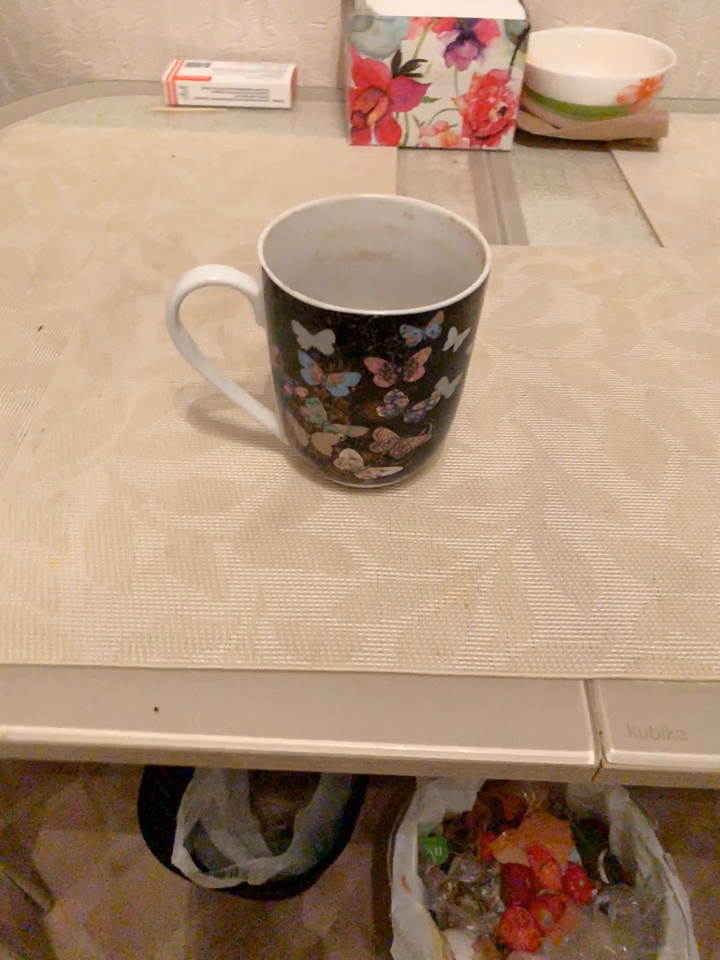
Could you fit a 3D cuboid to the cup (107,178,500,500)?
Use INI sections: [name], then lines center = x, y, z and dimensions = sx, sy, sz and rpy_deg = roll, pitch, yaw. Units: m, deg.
[cup]
center = -0.019, -0.056, 0.300
dimensions = 0.125, 0.097, 0.082
rpy_deg = 1, 46, -1
